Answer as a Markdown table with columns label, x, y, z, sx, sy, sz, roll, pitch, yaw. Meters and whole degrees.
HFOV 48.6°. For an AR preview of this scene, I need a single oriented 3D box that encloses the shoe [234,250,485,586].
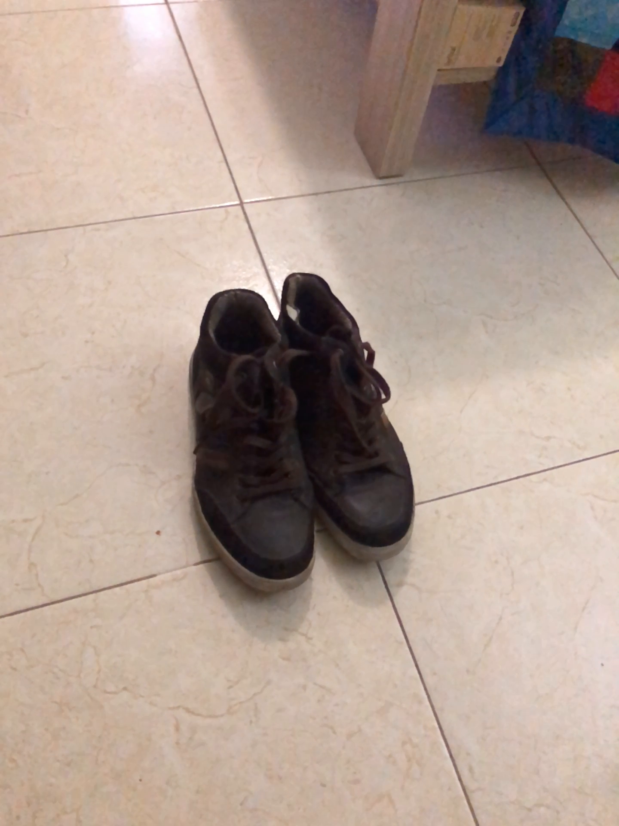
| label | x | y | z | sx | sy | sz | roll | pitch | yaw |
| --- | --- | --- | --- | --- | --- | --- | --- | --- | --- |
| shoe | 0.032 | -0.004 | 0.680 | 0.120 | 0.110 | 0.300 | -16 | 62 | -17 |

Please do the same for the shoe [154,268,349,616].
| label | x | y | z | sx | sy | sz | roll | pitch | yaw |
| --- | --- | --- | --- | --- | --- | --- | --- | --- | --- |
| shoe | -0.066 | 0.018 | 0.651 | 0.120 | 0.110 | 0.301 | -8 | 60 | -12 |
